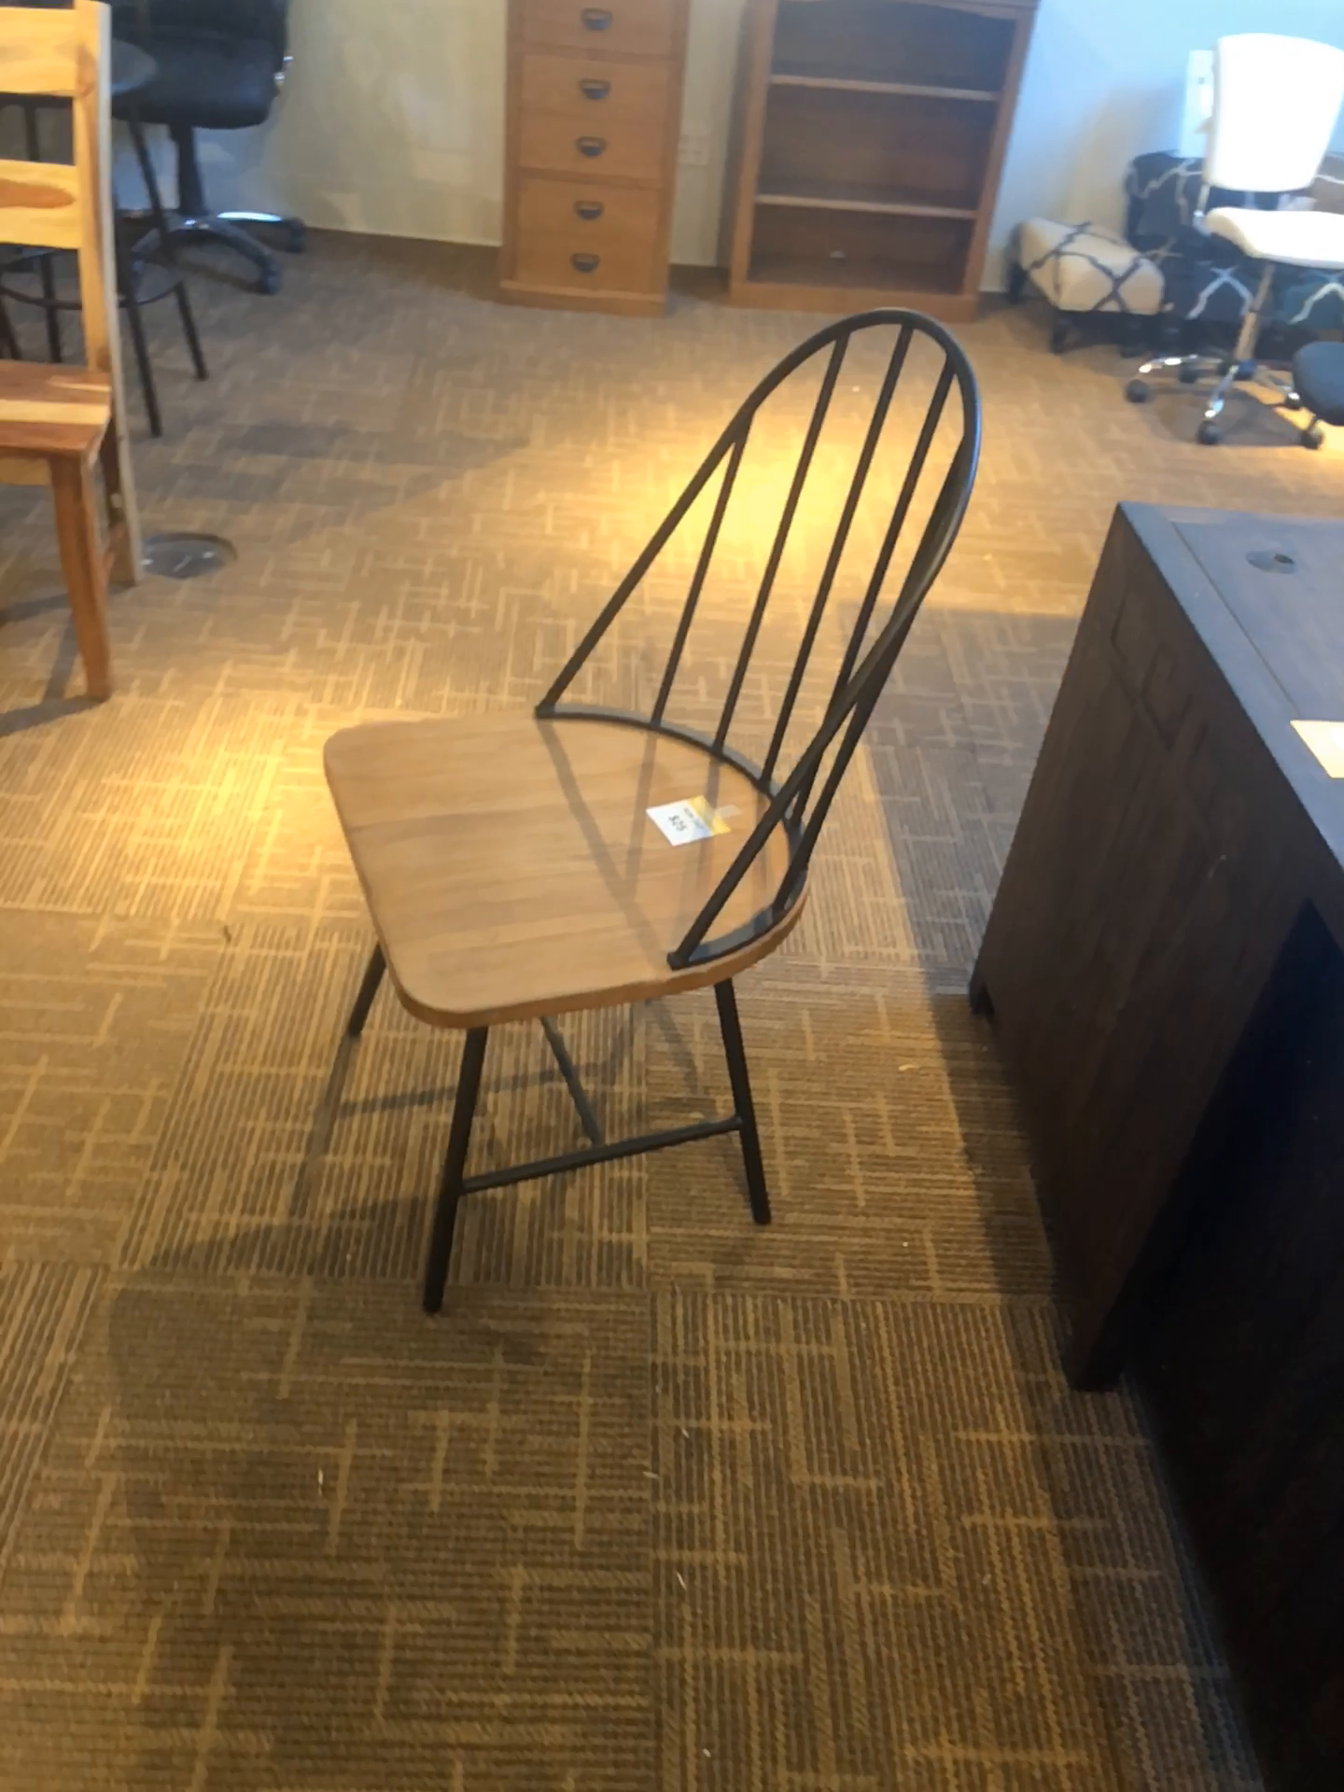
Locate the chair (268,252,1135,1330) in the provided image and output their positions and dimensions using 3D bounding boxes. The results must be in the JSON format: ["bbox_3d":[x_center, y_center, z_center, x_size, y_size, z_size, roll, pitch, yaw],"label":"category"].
[{"bbox_3d":[-0.044,-0.108,1.548,0.599,0.929,0.515,-9,41,-19],"label":"chair"}]
